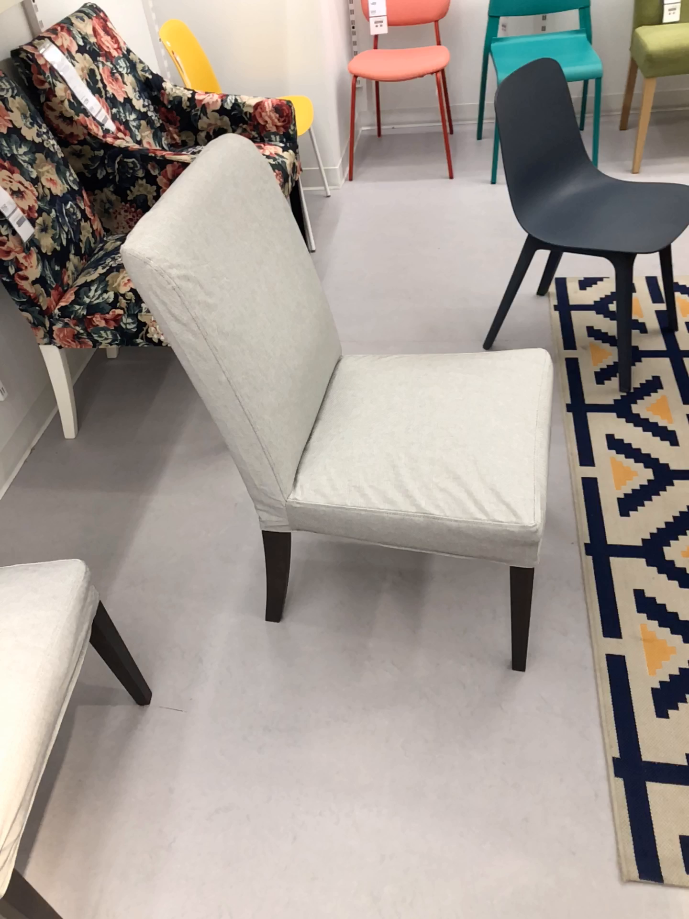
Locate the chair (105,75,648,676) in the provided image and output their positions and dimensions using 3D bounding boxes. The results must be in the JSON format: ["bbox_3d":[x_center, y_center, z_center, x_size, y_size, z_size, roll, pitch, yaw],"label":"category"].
[{"bbox_3d":[0.114,-0.127,1.359,0.641,0.854,0.563,4,44,13],"label":"chair"}]
